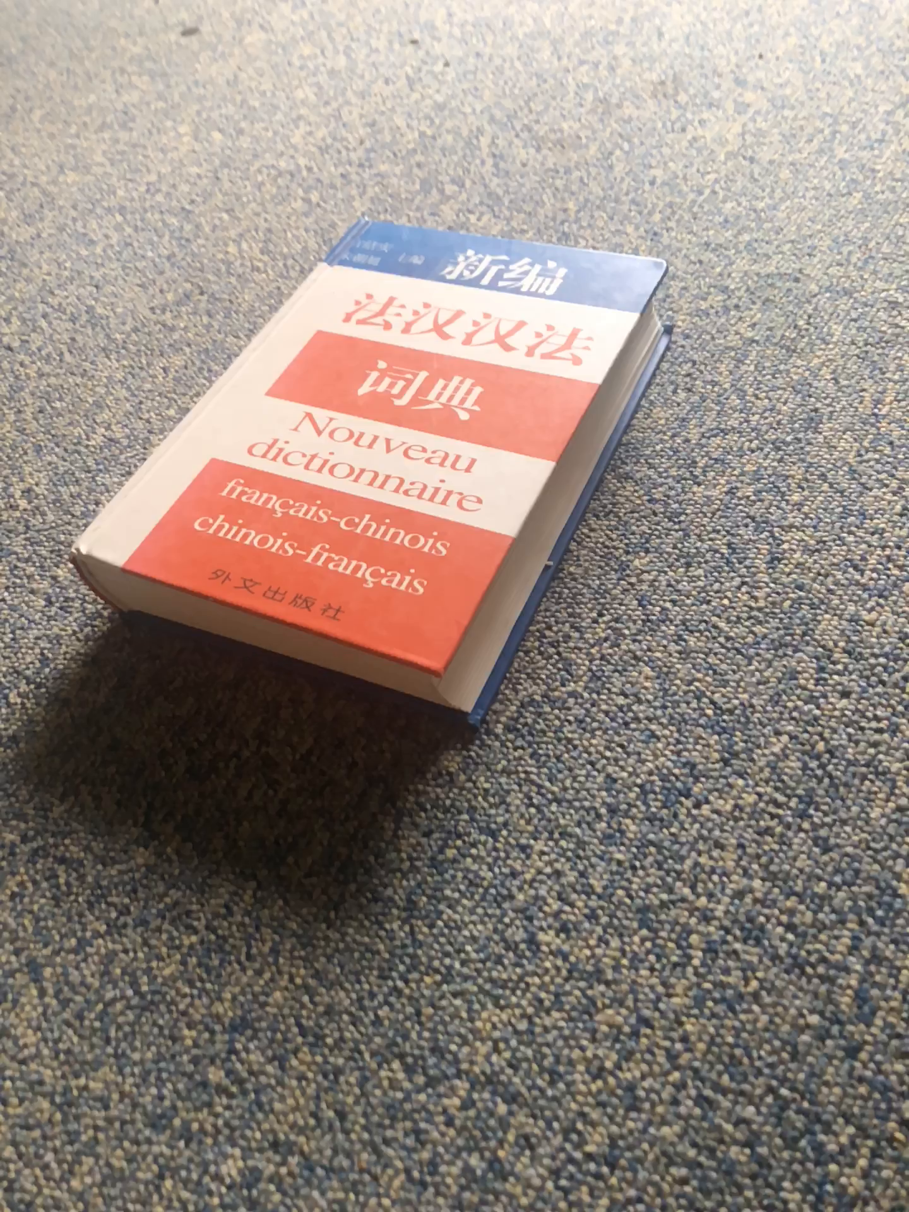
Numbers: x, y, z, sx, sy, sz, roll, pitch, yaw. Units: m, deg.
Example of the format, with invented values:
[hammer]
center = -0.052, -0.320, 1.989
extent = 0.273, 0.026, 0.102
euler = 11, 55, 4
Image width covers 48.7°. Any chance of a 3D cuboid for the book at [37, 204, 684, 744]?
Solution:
[book]
center = -0.023, -0.067, 0.369
extent = 0.152, 0.034, 0.209
euler = 16, 57, 22
